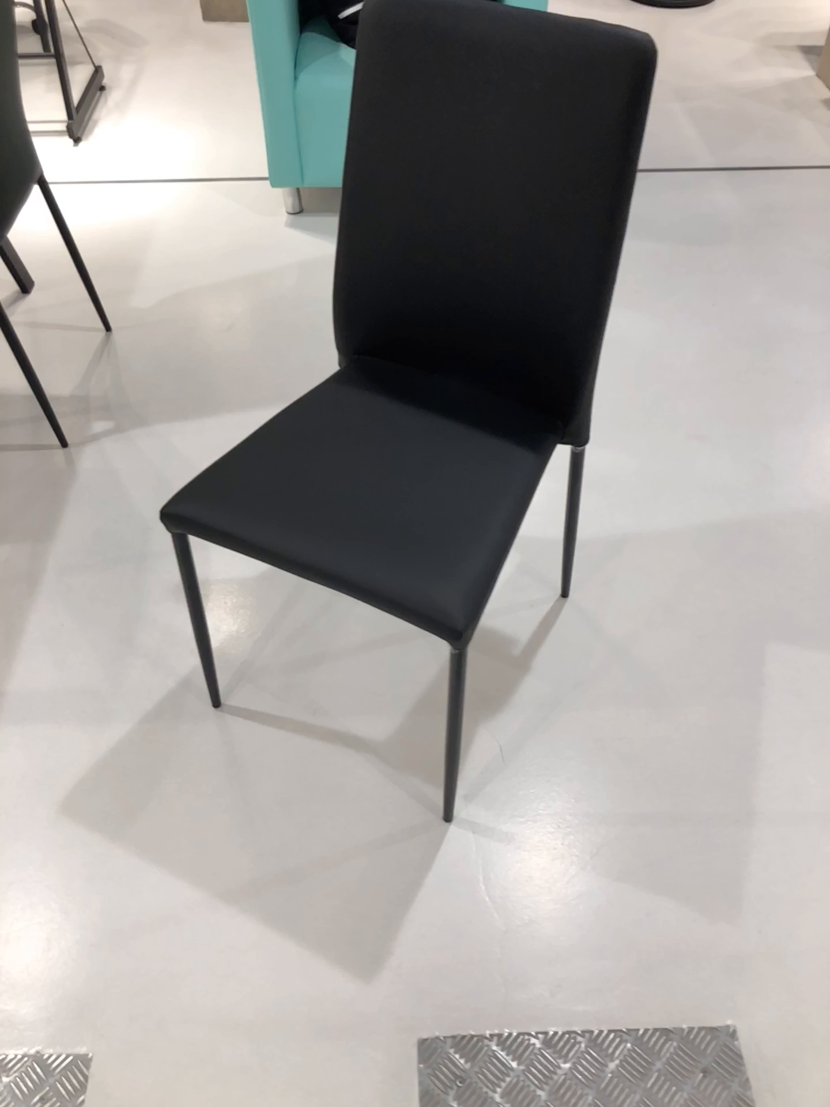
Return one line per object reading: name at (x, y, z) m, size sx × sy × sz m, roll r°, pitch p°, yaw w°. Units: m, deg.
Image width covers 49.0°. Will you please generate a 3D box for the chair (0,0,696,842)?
chair at (-0.023, -0.163, 1.208) m, size 0.450 × 0.864 × 0.604 m, roll 20°, pitch 51°, yaw 18°
